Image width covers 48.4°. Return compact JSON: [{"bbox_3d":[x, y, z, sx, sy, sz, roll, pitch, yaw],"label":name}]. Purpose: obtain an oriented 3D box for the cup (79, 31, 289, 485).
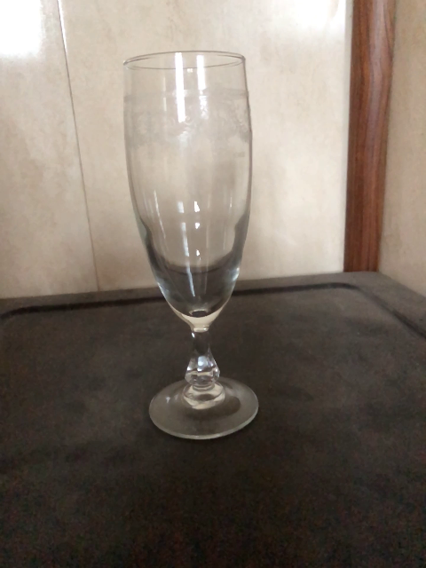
[{"bbox_3d":[-0.010,-0.011,0.211,0.060,0.169,0.060,-3,17,1],"label":"cup"}]
